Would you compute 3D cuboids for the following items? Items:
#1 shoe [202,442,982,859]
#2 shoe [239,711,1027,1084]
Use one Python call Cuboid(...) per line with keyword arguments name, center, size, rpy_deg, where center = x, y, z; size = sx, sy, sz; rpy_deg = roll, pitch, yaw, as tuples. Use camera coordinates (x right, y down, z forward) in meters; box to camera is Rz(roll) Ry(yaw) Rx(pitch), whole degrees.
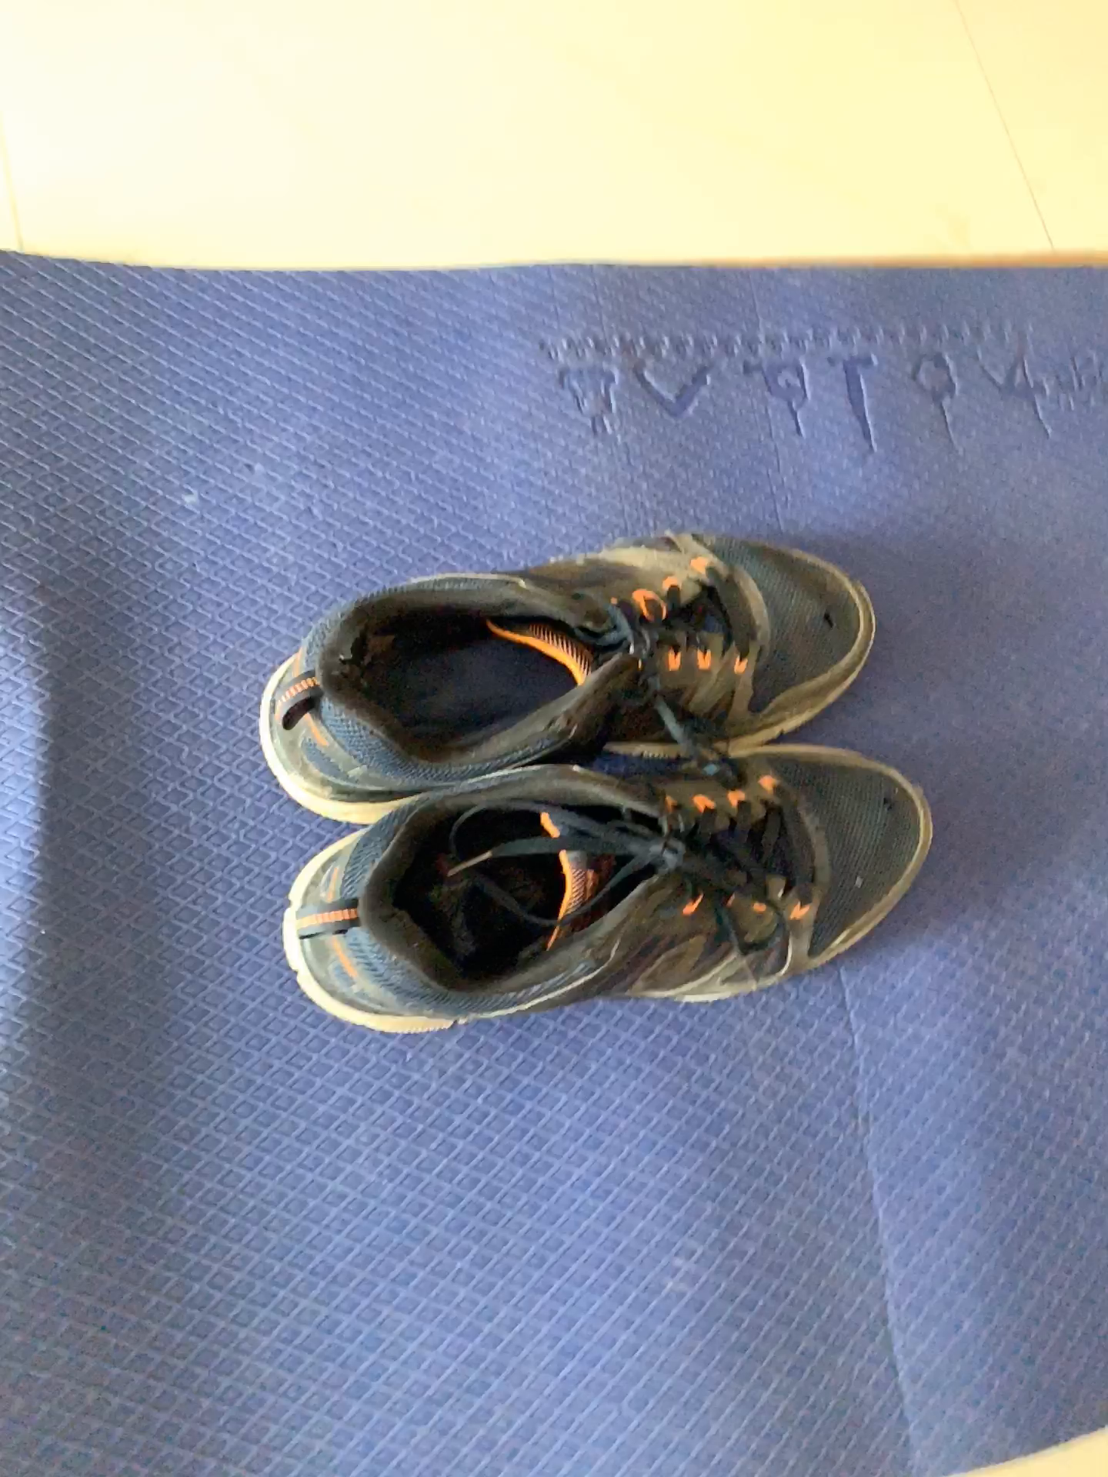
Cuboid(name="shoe", center=(0.016, -0.040, 0.509), size=(0.311, 0.100, 0.110), rpy_deg=(-12, 81, -16))
Cuboid(name="shoe", center=(0.032, 0.070, 0.512), size=(0.320, 0.100, 0.100), rpy_deg=(-7, 73, -15))
